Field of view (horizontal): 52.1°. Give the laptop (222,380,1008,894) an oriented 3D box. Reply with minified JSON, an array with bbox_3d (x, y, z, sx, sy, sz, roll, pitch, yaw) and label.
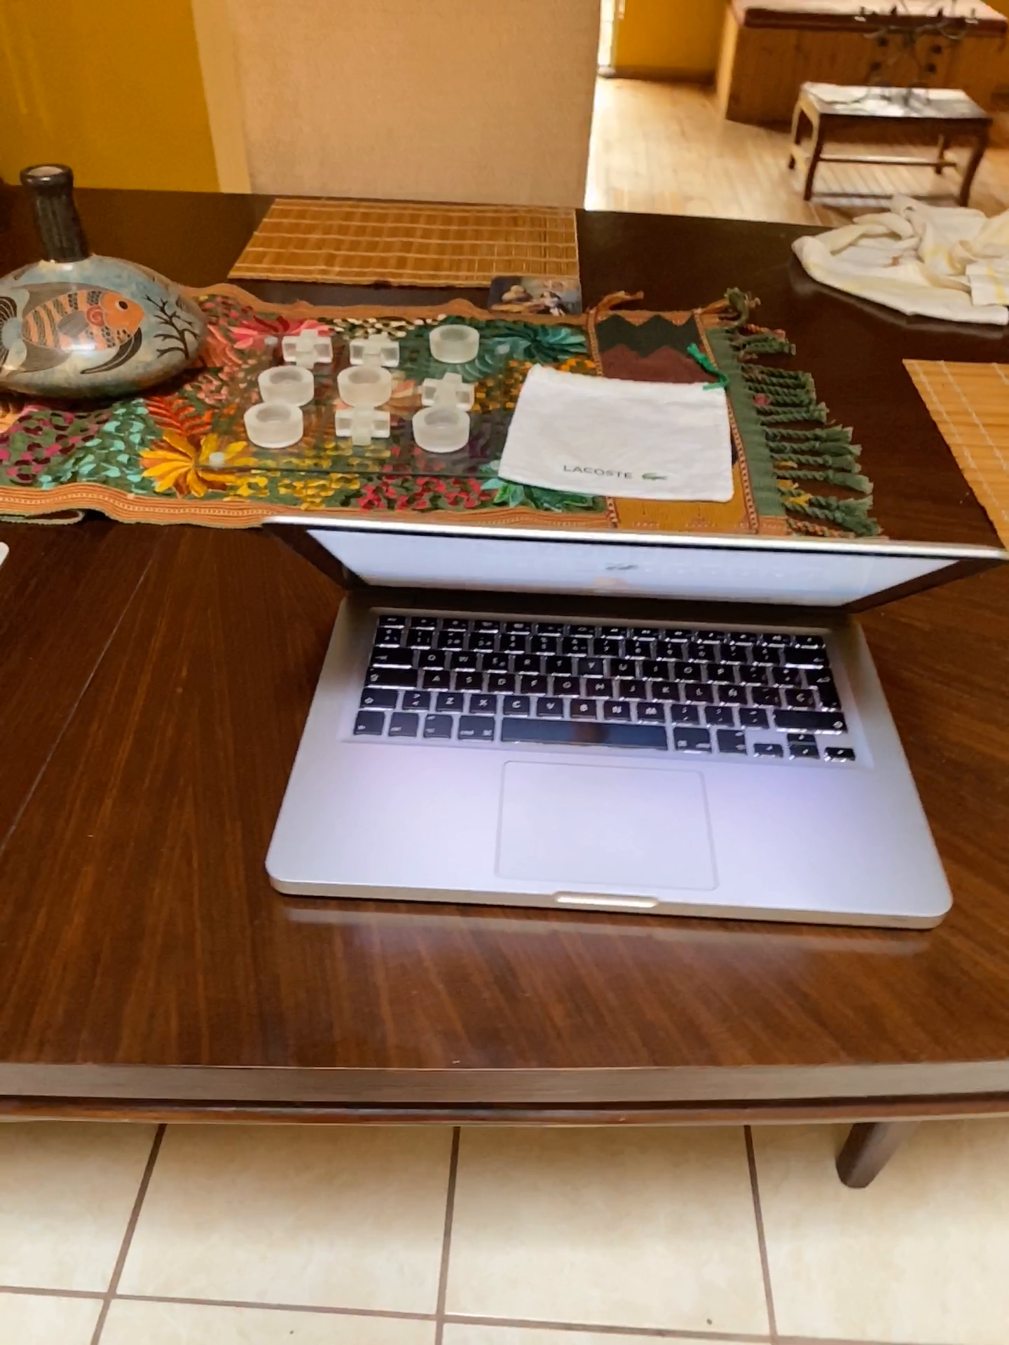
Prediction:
[{"bbox_3d":[0.053,-0.026,0.531,0.321,0.152,0.214,2,41,0],"label":"laptop"}]
